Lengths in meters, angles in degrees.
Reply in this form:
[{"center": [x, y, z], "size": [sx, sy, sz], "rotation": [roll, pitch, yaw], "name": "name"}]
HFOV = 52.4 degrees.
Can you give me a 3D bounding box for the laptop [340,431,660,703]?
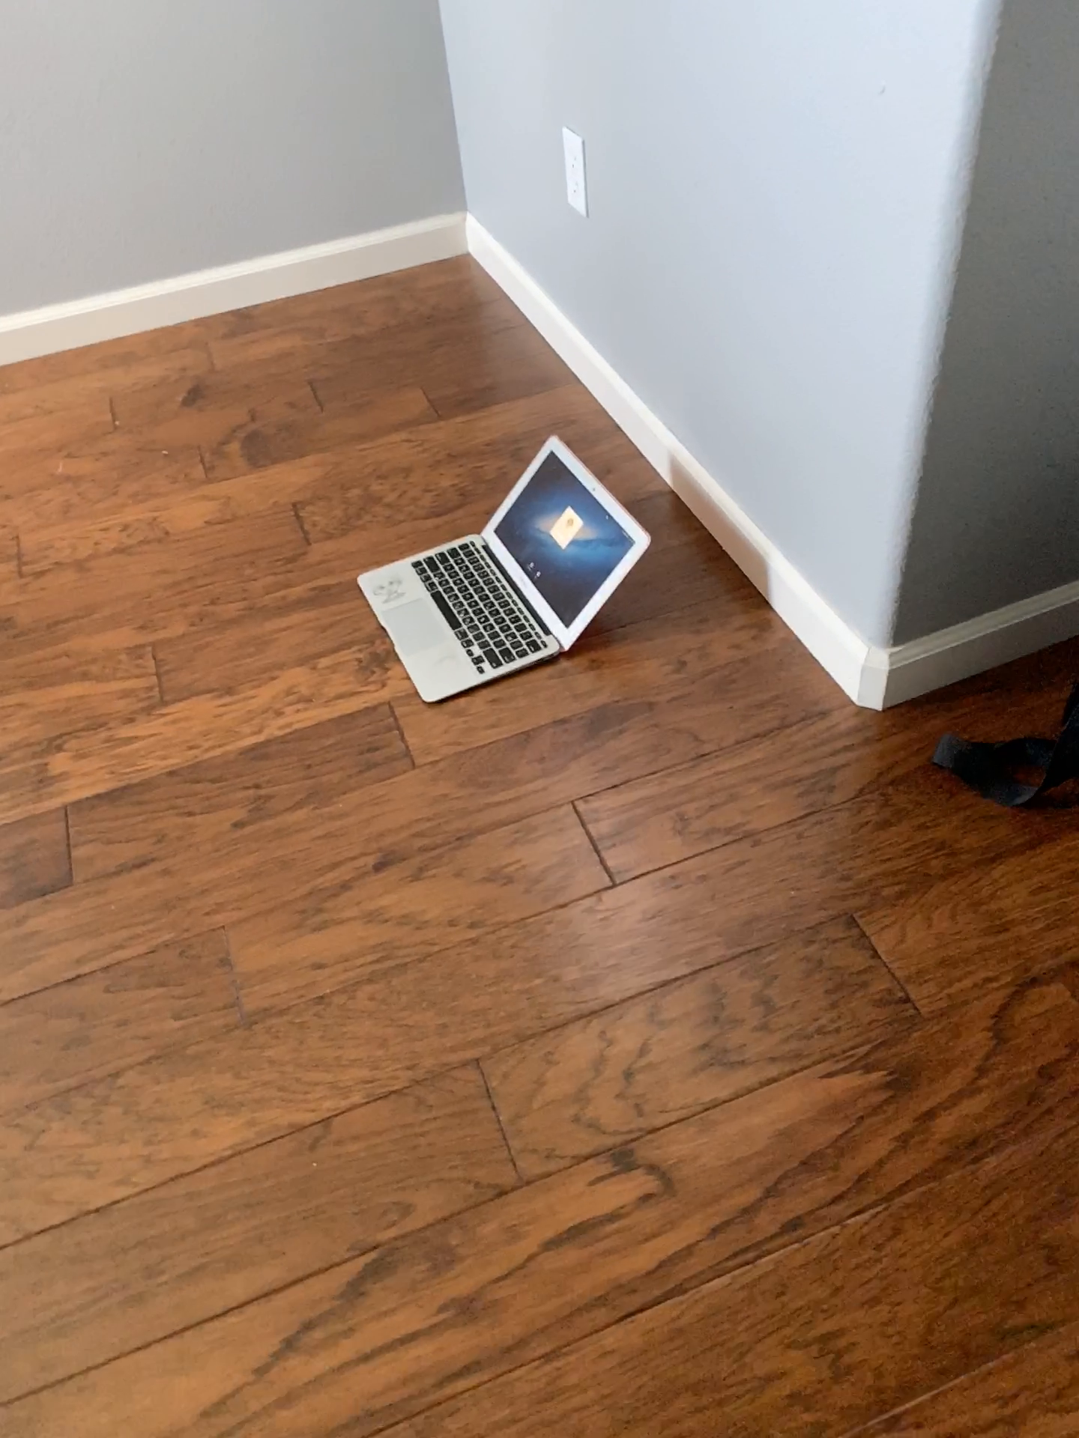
[{"center": [-0.056, -0.209, 1.426], "size": [0.322, 0.117, 0.294], "rotation": [-22, 45, -11], "name": "laptop"}]
